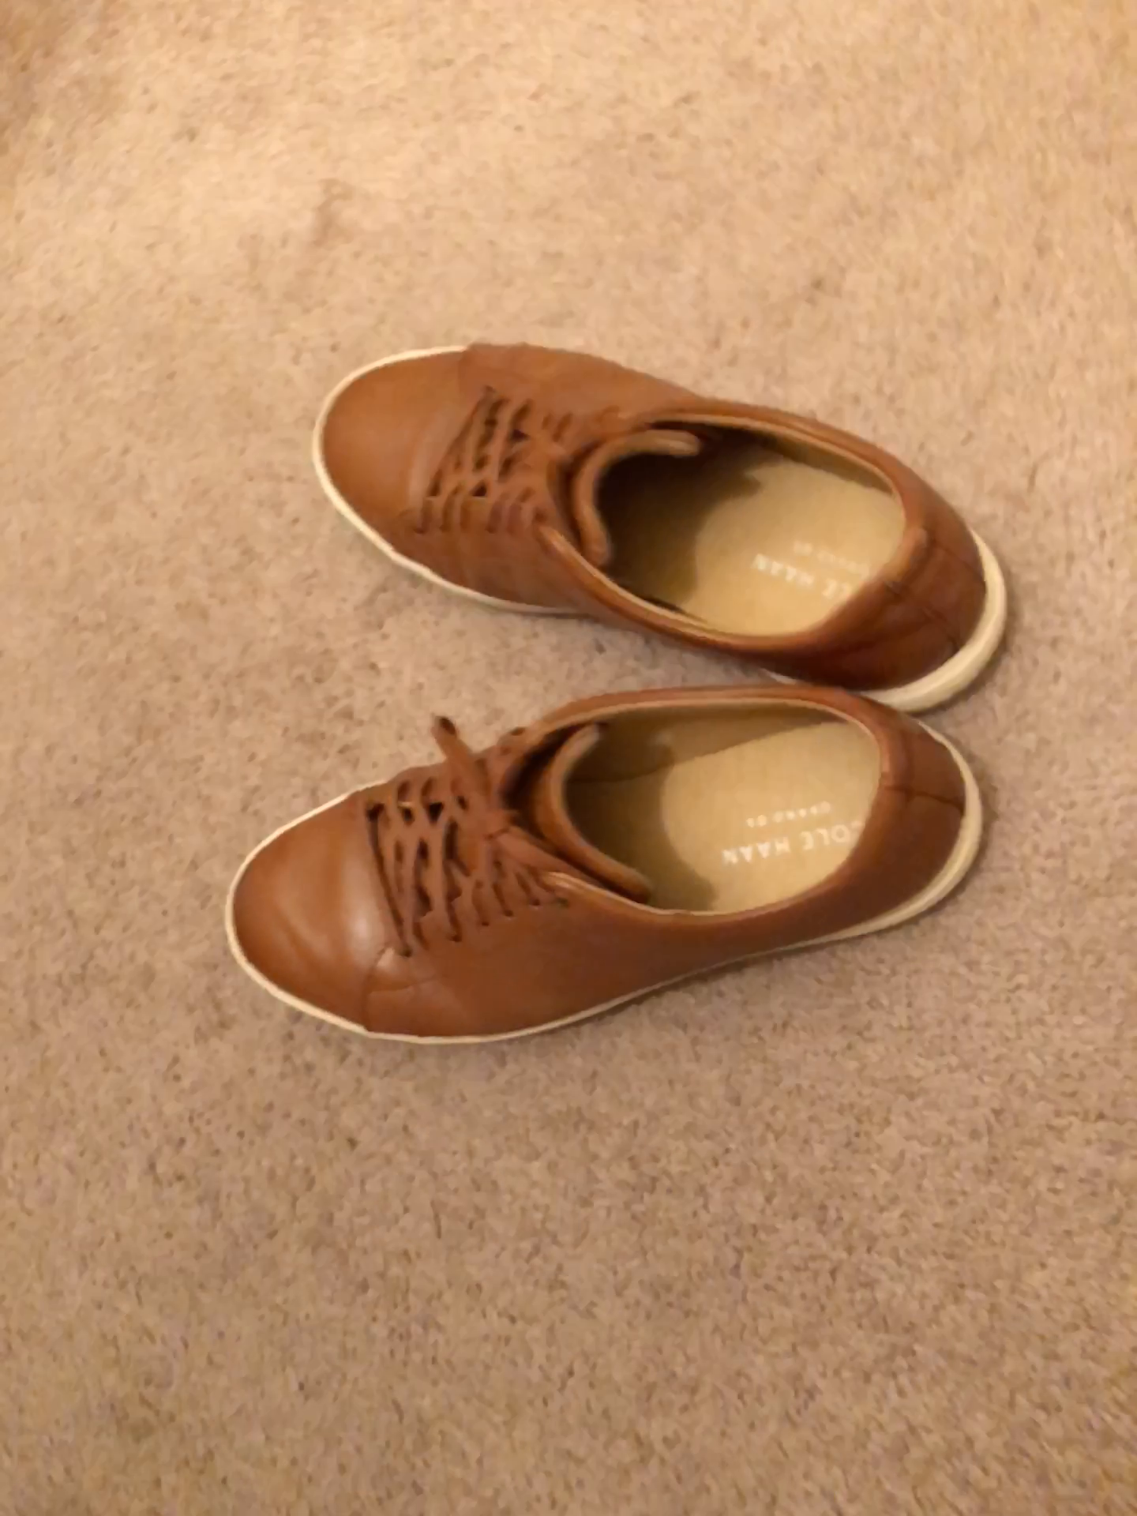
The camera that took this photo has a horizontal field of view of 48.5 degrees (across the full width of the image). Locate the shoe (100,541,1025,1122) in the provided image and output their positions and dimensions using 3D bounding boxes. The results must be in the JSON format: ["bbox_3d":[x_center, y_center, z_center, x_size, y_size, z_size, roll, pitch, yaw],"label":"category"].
[{"bbox_3d":[-0.011,0.041,0.429,0.286,0.100,0.117,-15,72,22],"label":"shoe"}]

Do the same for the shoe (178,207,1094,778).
[{"bbox_3d":[0.018,-0.099,0.447,0.286,0.102,0.117,19,87,27],"label":"shoe"}]
